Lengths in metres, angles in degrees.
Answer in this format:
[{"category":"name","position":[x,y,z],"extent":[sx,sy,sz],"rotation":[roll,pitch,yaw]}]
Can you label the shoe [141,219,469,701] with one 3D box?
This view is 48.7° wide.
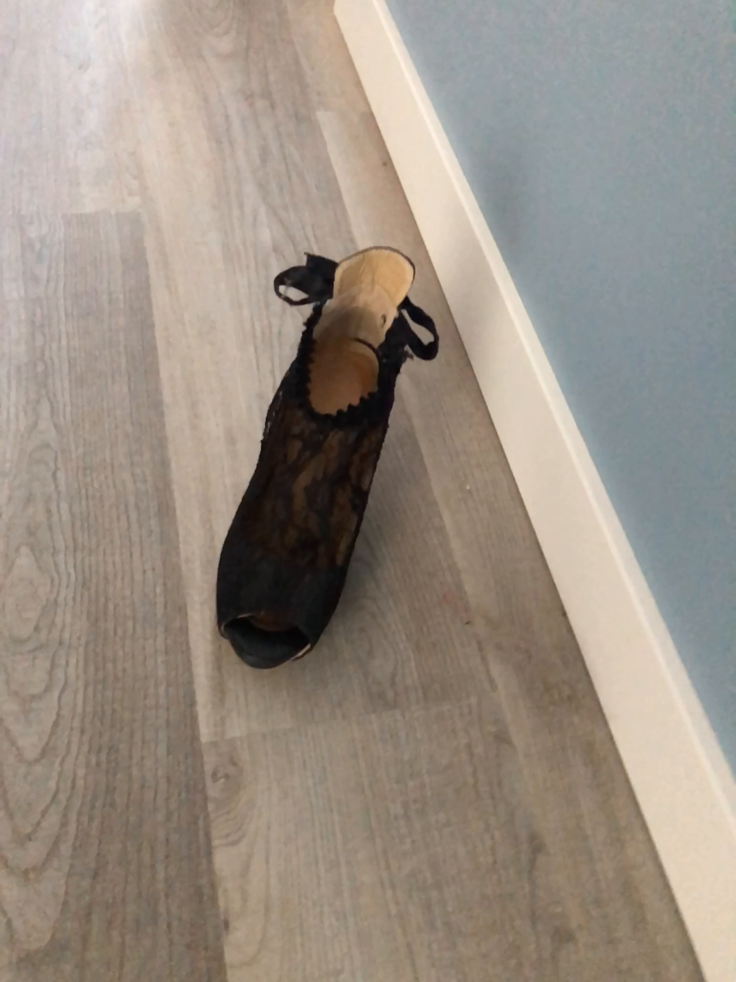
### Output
[{"category":"shoe","position":[-0.029,-0.021,0.468],"extent":[0.100,0.140,0.221],"rotation":[18,54,3]}]
